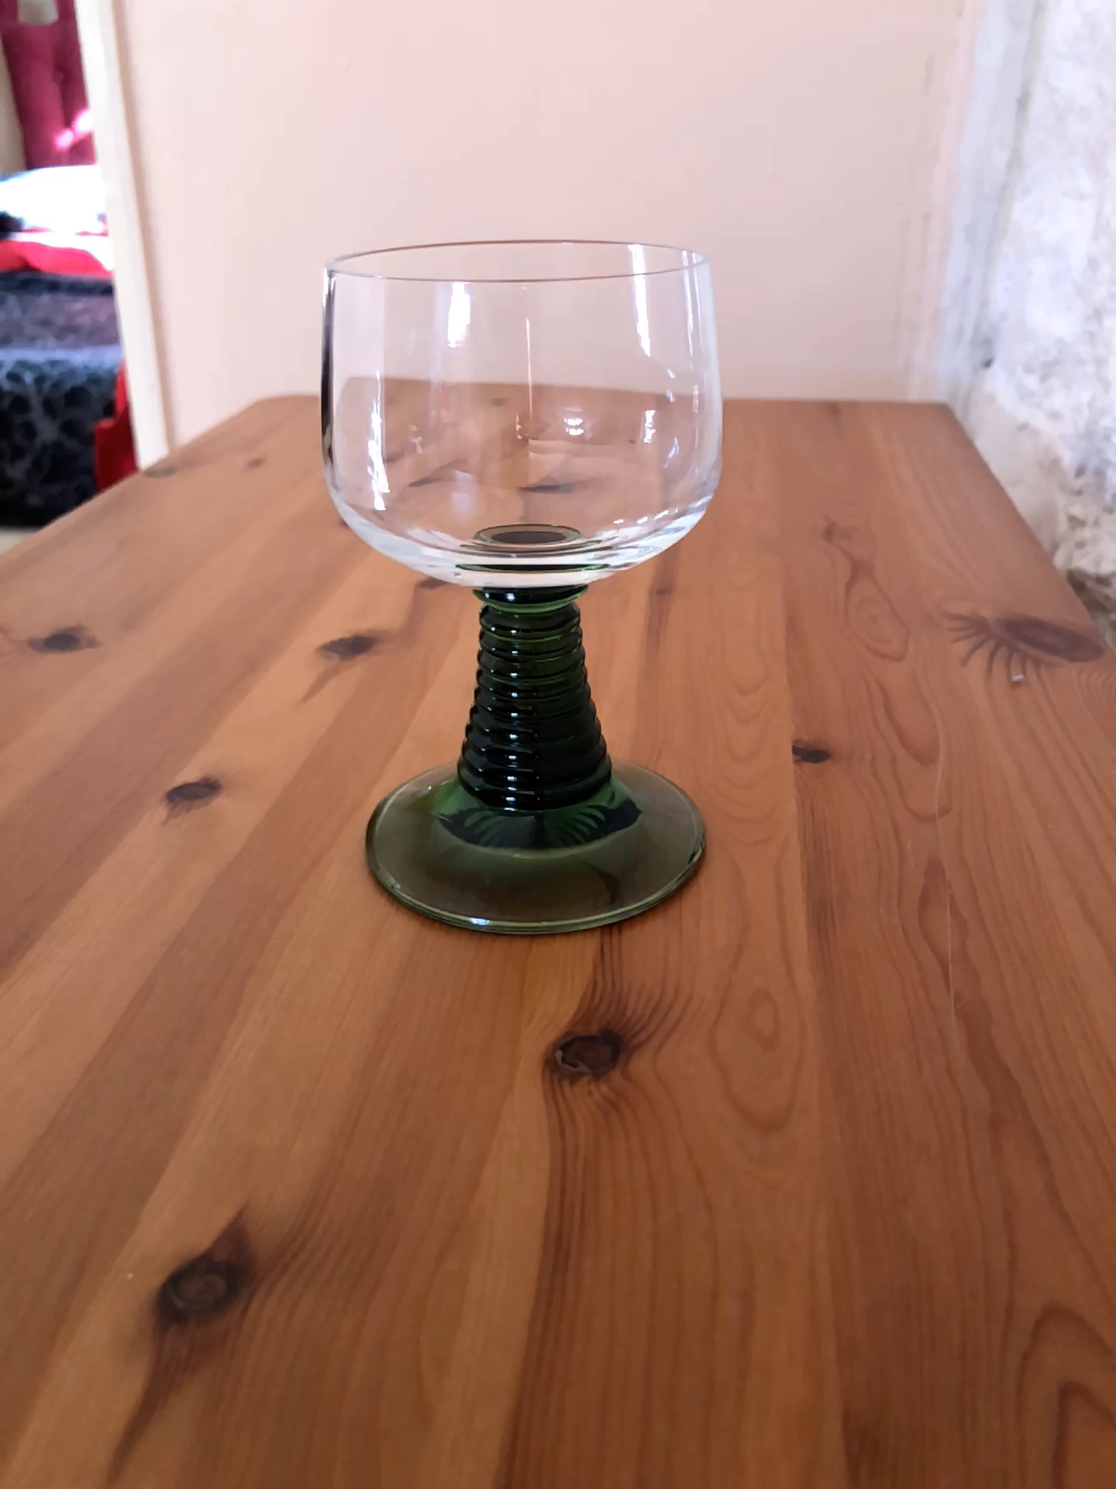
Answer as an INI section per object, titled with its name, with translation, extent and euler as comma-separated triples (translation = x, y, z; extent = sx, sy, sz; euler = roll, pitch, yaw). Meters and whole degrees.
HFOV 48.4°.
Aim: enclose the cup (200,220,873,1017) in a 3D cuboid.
[cup]
translation = -0.005, -0.029, 0.213
extent = 0.074, 0.106, 0.074
euler = 0, 26, 0
